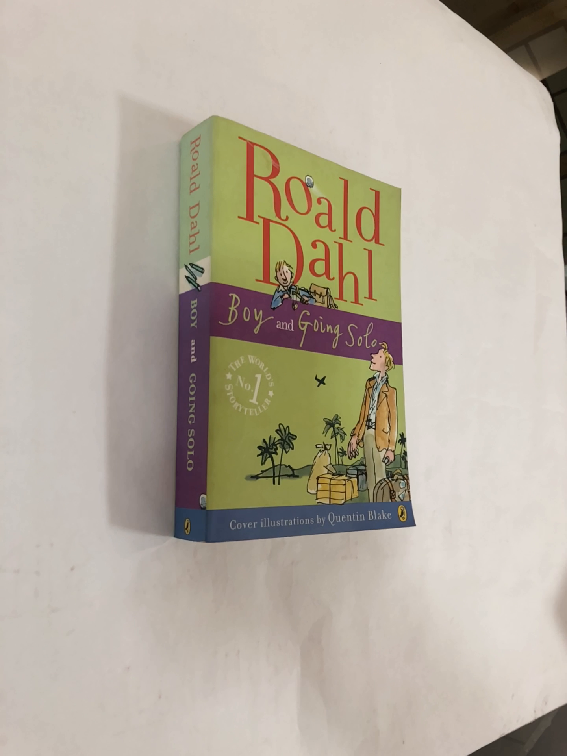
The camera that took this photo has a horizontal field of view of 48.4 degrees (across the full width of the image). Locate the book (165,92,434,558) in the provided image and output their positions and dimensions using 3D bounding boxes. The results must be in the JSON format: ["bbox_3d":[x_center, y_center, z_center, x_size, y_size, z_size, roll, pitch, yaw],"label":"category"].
[{"bbox_3d":[0.013,-0.019,0.314,0.141,0.036,0.193,6,80,-40],"label":"book"}]
